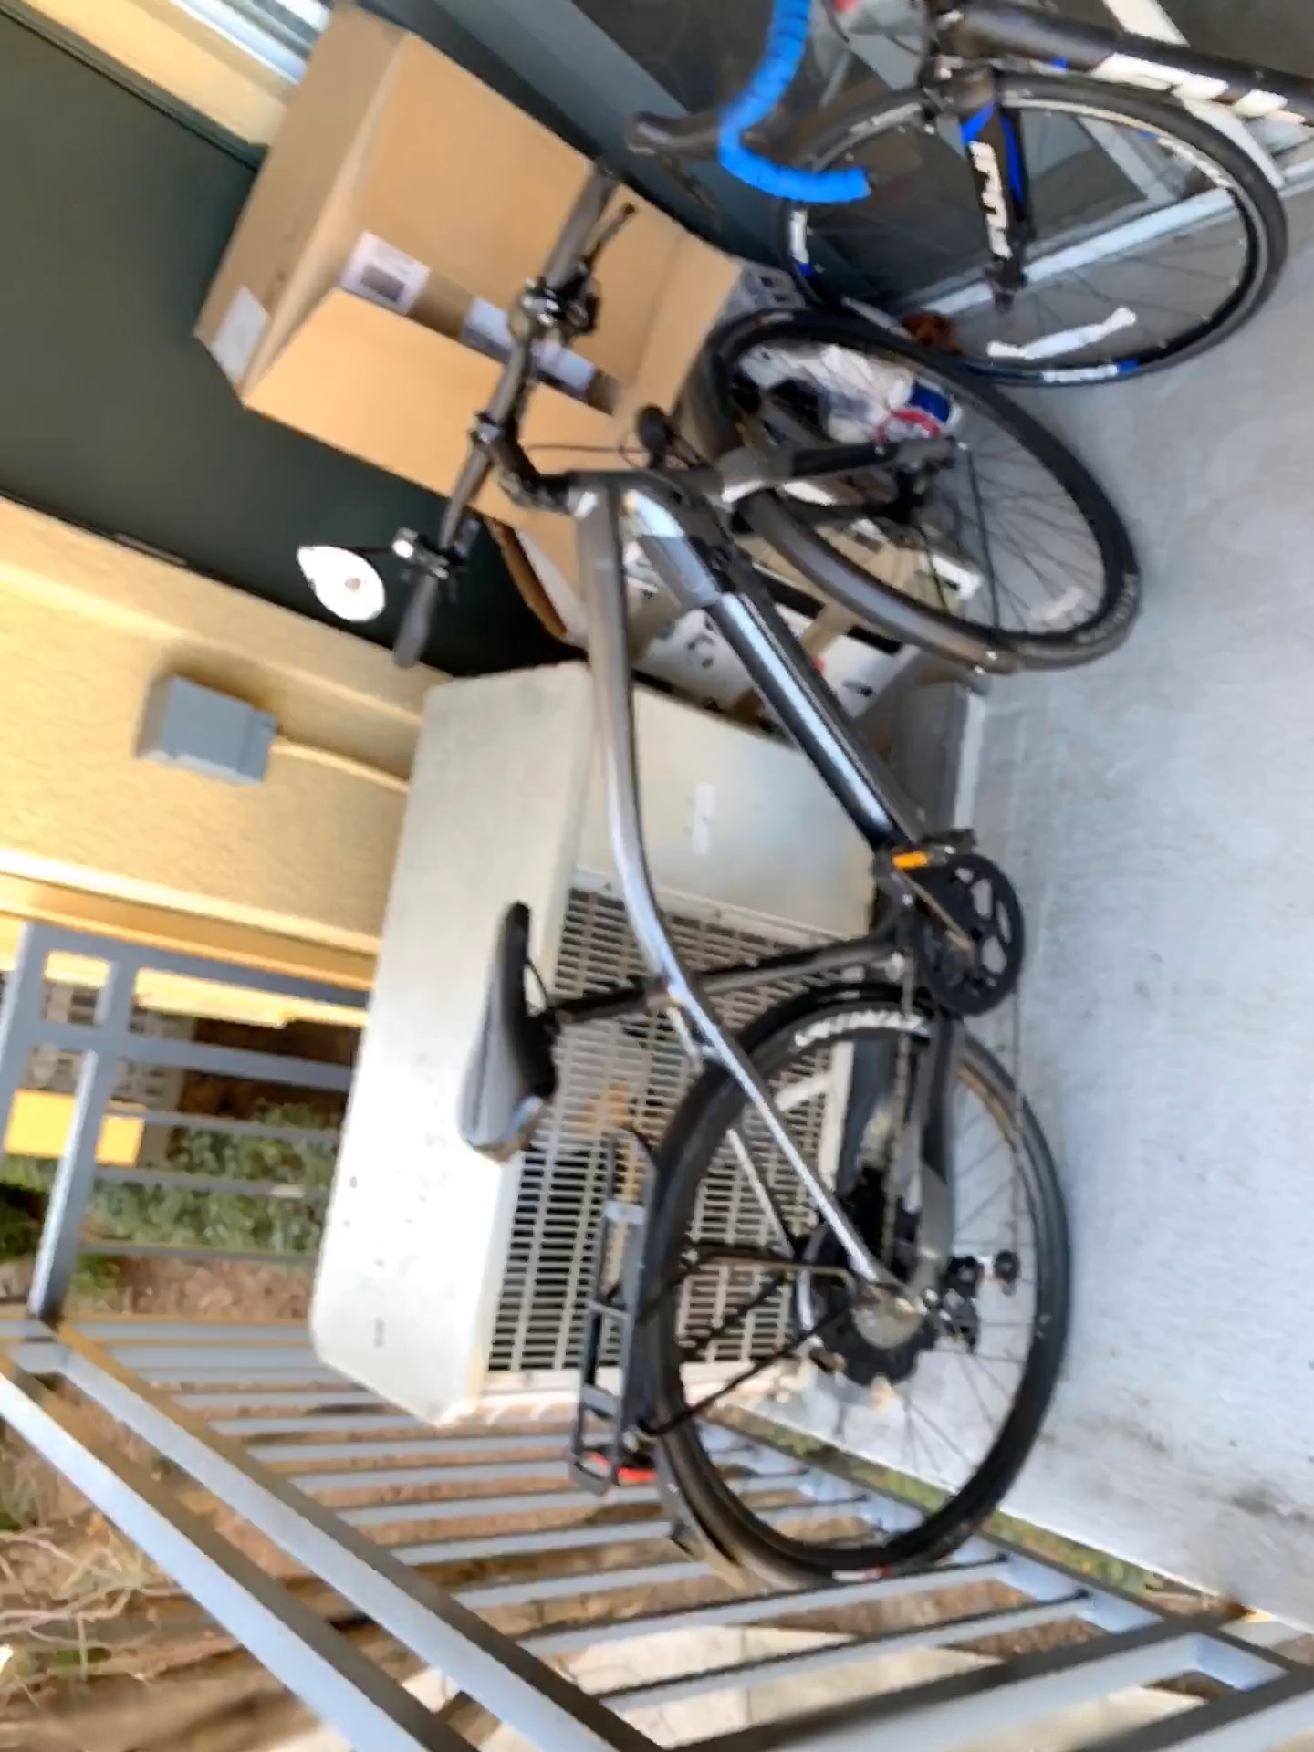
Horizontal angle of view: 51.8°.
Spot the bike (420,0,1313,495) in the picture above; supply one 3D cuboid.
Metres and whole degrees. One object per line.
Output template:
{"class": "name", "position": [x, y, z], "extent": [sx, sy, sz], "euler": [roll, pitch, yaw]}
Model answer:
{"class": "bike", "position": [0.662, -0.783, 1.254], "extent": [1.514, 0.929, 0.362], "euler": [8, 83, 45]}

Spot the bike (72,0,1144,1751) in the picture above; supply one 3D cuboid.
{"class": "bike", "position": [0.044, -0.033, 1.670], "extent": [0.627, 0.968, 1.582], "euler": [-13, 66, 46]}
